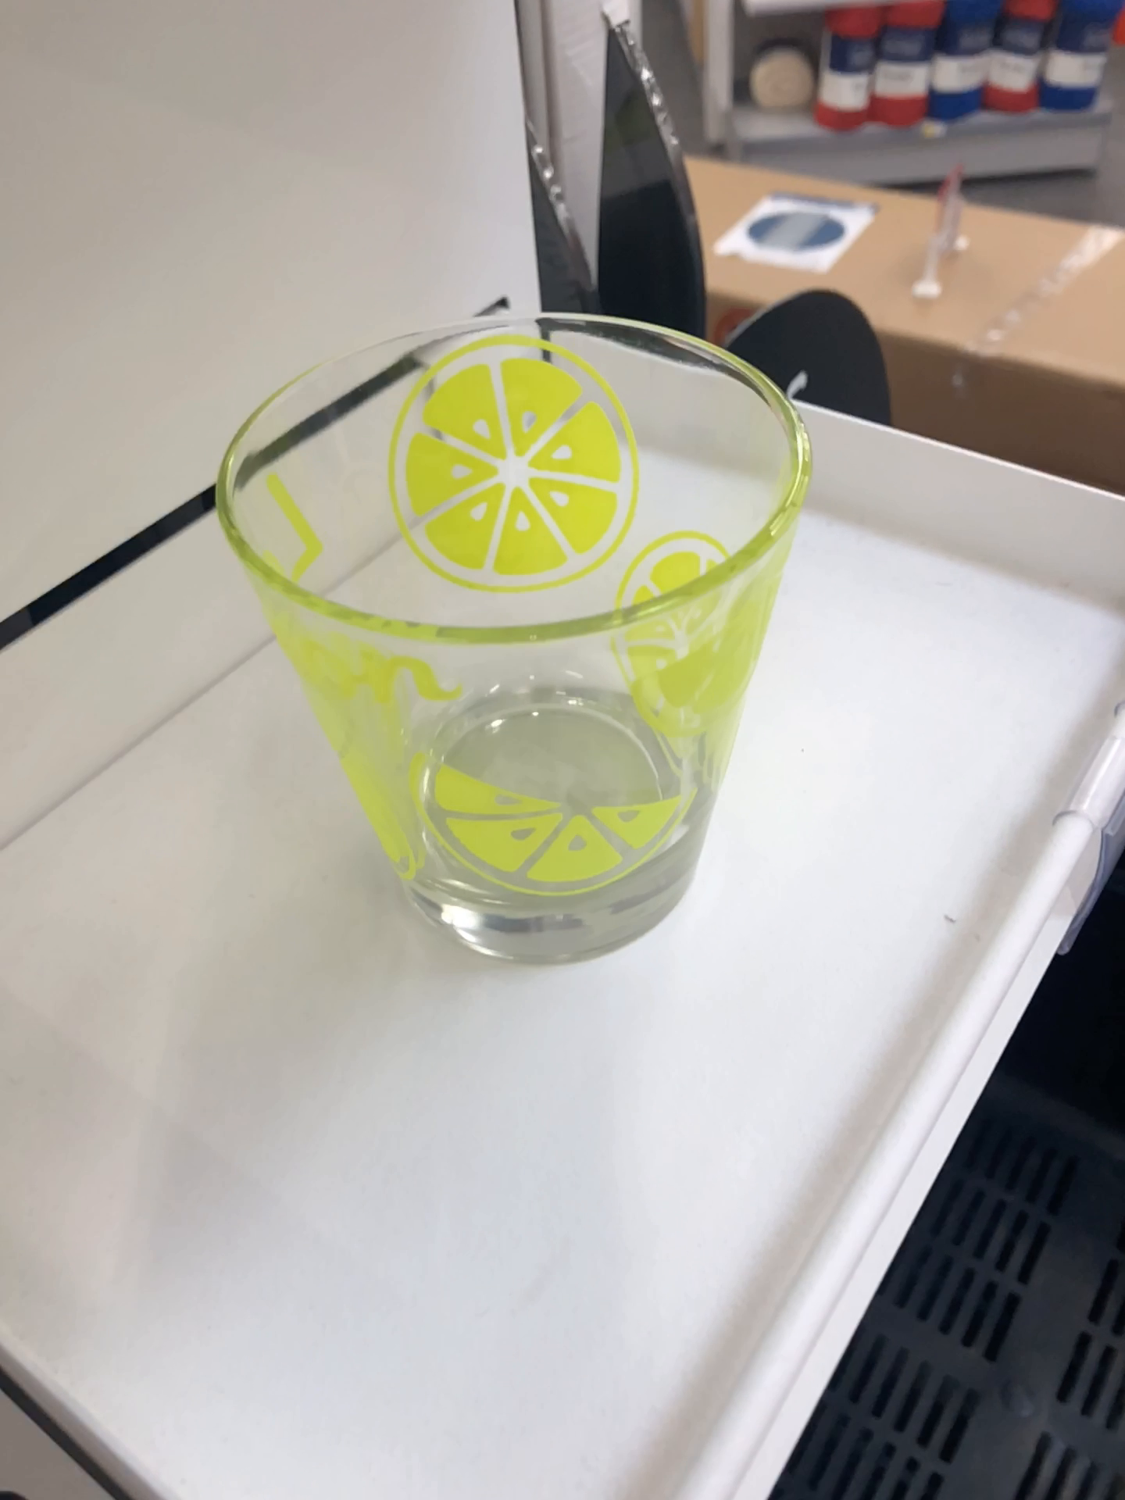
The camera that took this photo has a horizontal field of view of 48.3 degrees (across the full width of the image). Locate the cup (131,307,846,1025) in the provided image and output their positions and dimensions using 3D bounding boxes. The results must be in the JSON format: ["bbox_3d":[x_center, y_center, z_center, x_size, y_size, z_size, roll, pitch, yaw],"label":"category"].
[{"bbox_3d":[-0.002,-0.016,0.200,0.084,0.075,0.080,-3,44,3],"label":"cup"}]
